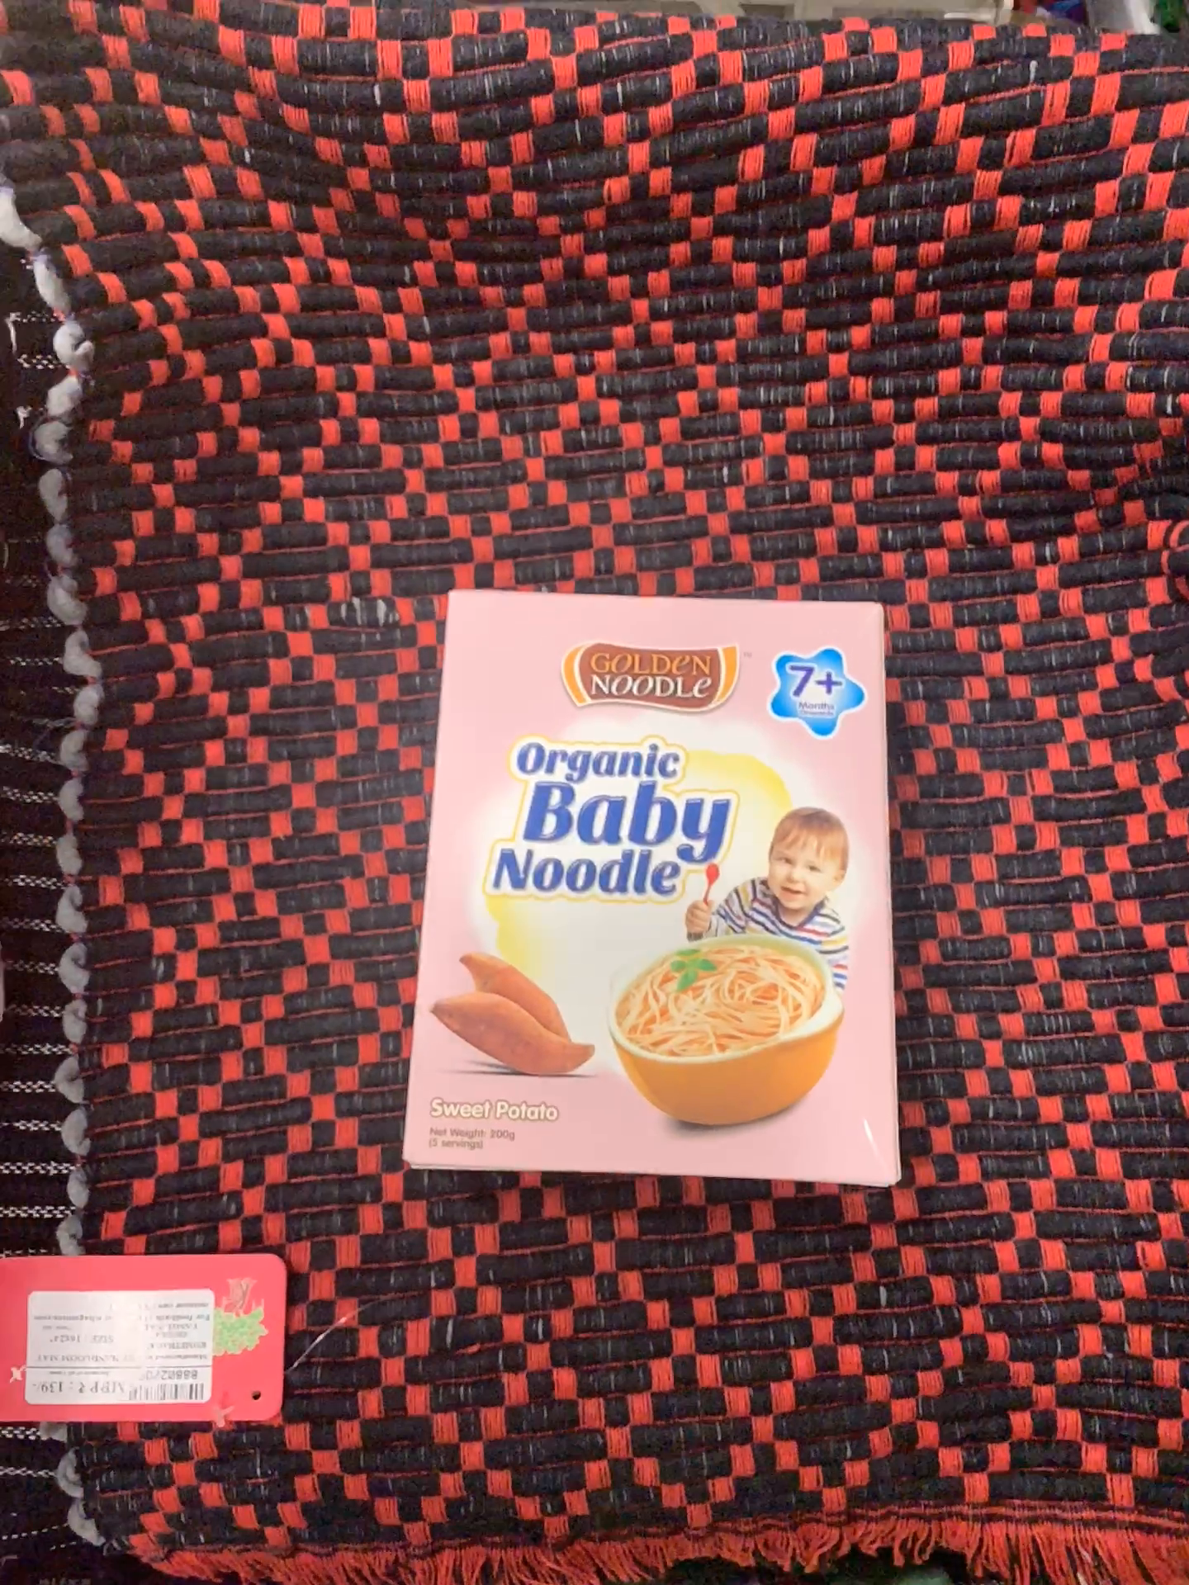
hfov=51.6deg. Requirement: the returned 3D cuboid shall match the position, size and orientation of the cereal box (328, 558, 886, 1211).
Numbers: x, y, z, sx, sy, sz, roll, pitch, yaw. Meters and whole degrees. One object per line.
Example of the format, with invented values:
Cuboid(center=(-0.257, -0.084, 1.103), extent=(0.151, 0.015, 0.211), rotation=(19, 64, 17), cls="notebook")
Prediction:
Cuboid(center=(0.006, 0.023, 0.330), extent=(0.130, 0.050, 0.160), rotation=(2, 76, 2), cls="cereal box")
